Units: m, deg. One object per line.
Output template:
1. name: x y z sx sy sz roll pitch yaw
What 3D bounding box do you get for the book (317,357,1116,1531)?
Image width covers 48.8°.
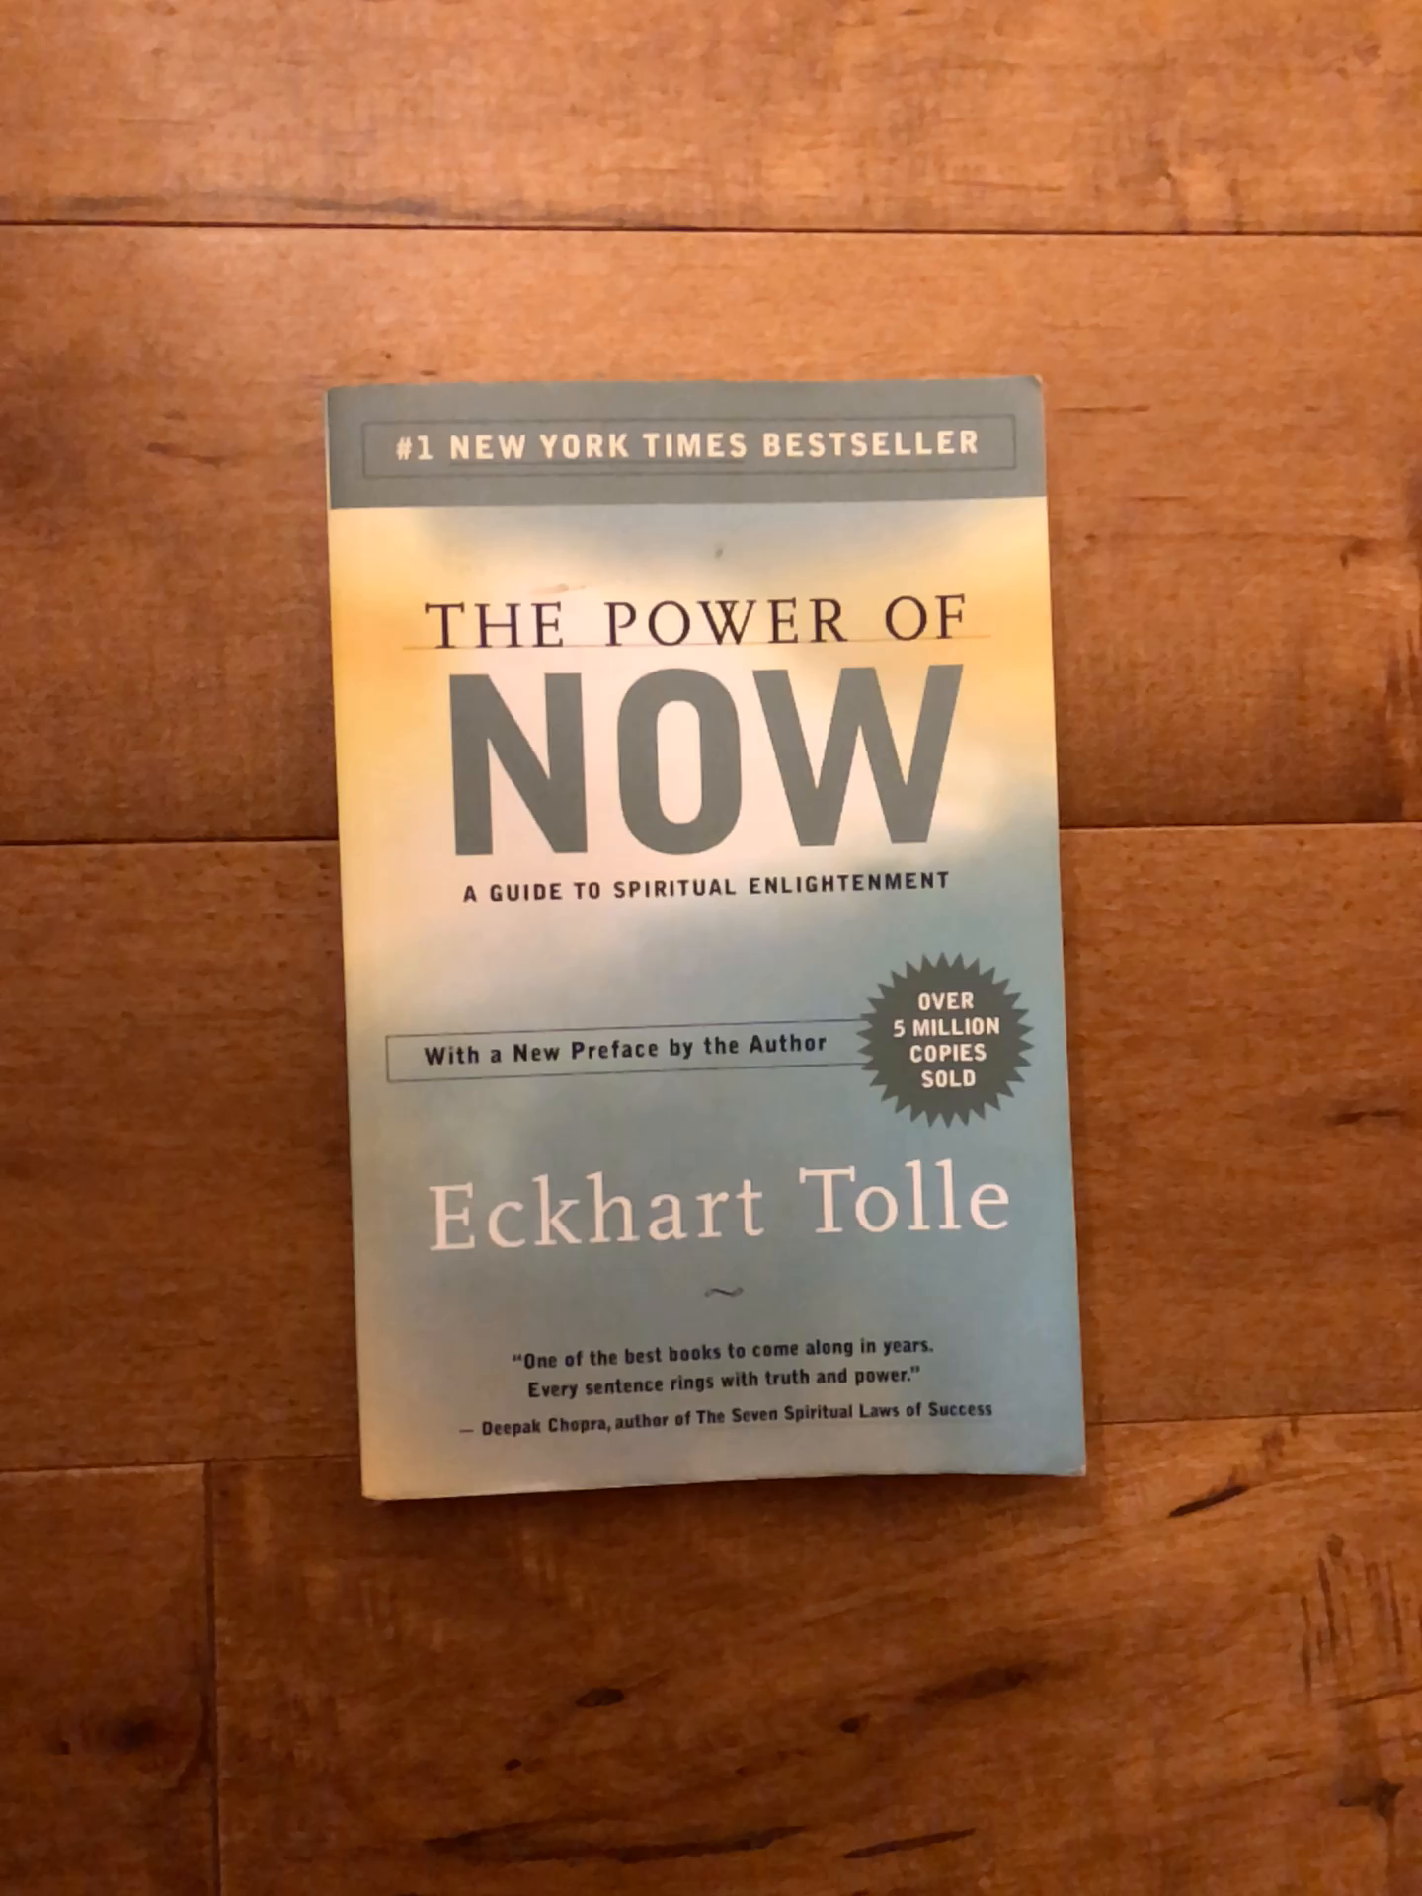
1. book: 0.001 -0.003 0.319 0.146 0.030 0.222 -2 89 -3
